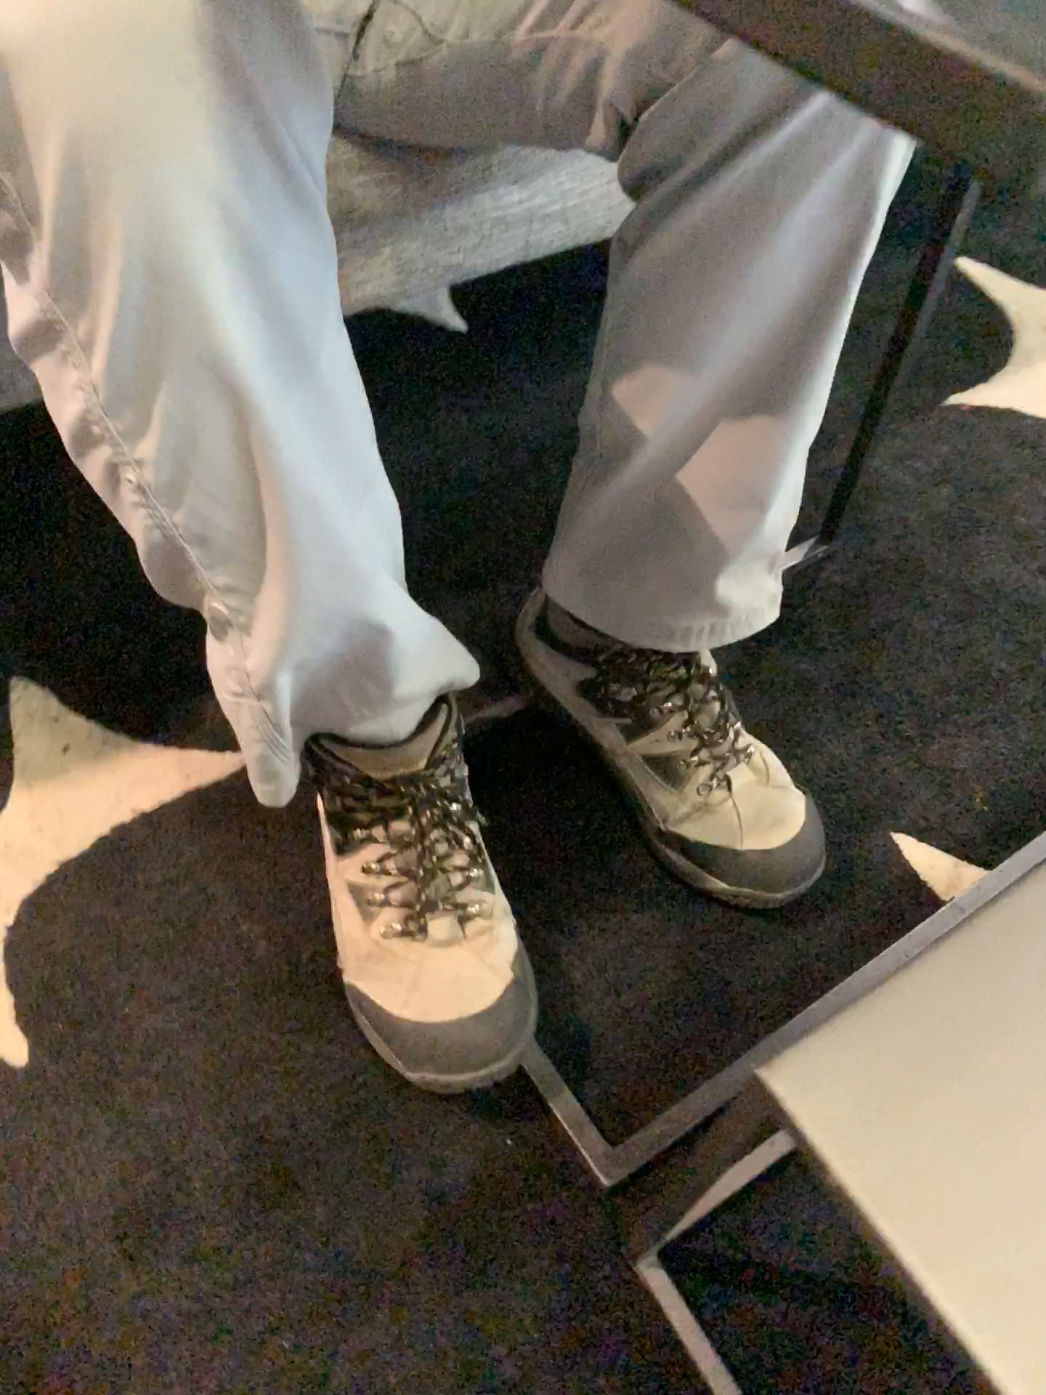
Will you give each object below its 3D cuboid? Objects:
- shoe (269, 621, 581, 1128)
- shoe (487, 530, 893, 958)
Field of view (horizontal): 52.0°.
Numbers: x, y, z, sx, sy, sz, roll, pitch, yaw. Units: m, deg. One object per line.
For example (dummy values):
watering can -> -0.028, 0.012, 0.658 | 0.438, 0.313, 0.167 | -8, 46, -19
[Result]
shoe -> -0.071, 0.102, 0.681 | 0.123, 0.090, 0.286 | -12, 60, -12
shoe -> 0.107, 0.022, 0.786 | 0.121, 0.080, 0.304 | -27, 60, -21
